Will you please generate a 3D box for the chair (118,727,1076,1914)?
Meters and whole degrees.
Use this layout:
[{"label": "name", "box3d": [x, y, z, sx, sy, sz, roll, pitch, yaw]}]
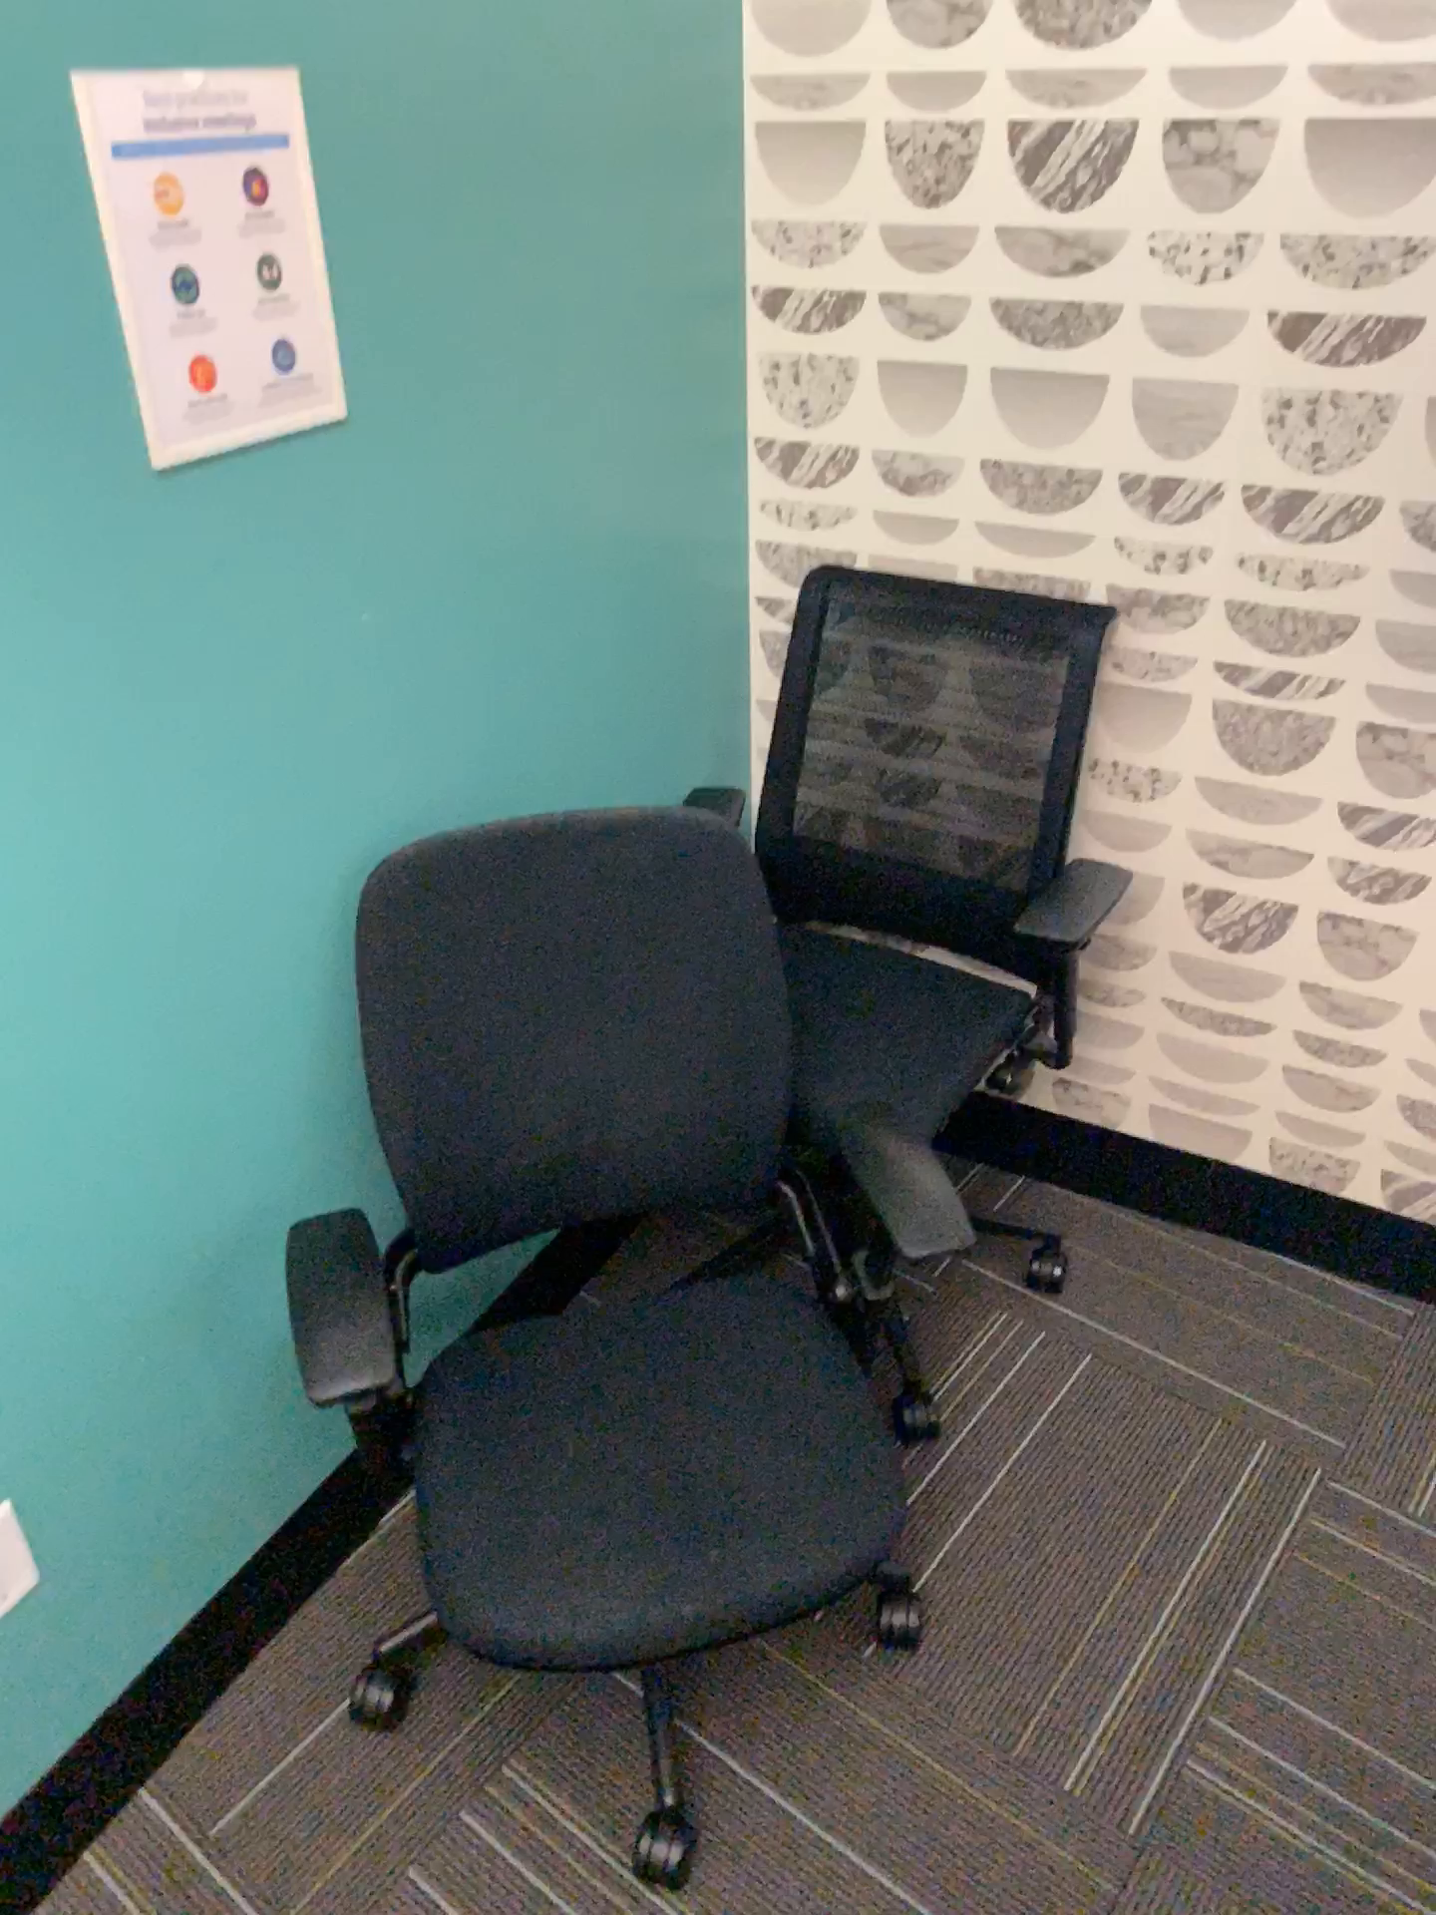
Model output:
[{"label": "chair", "box3d": [-0.143, 0.378, 1.557, 0.660, 0.944, 0.775, -9, 32, -11]}]
